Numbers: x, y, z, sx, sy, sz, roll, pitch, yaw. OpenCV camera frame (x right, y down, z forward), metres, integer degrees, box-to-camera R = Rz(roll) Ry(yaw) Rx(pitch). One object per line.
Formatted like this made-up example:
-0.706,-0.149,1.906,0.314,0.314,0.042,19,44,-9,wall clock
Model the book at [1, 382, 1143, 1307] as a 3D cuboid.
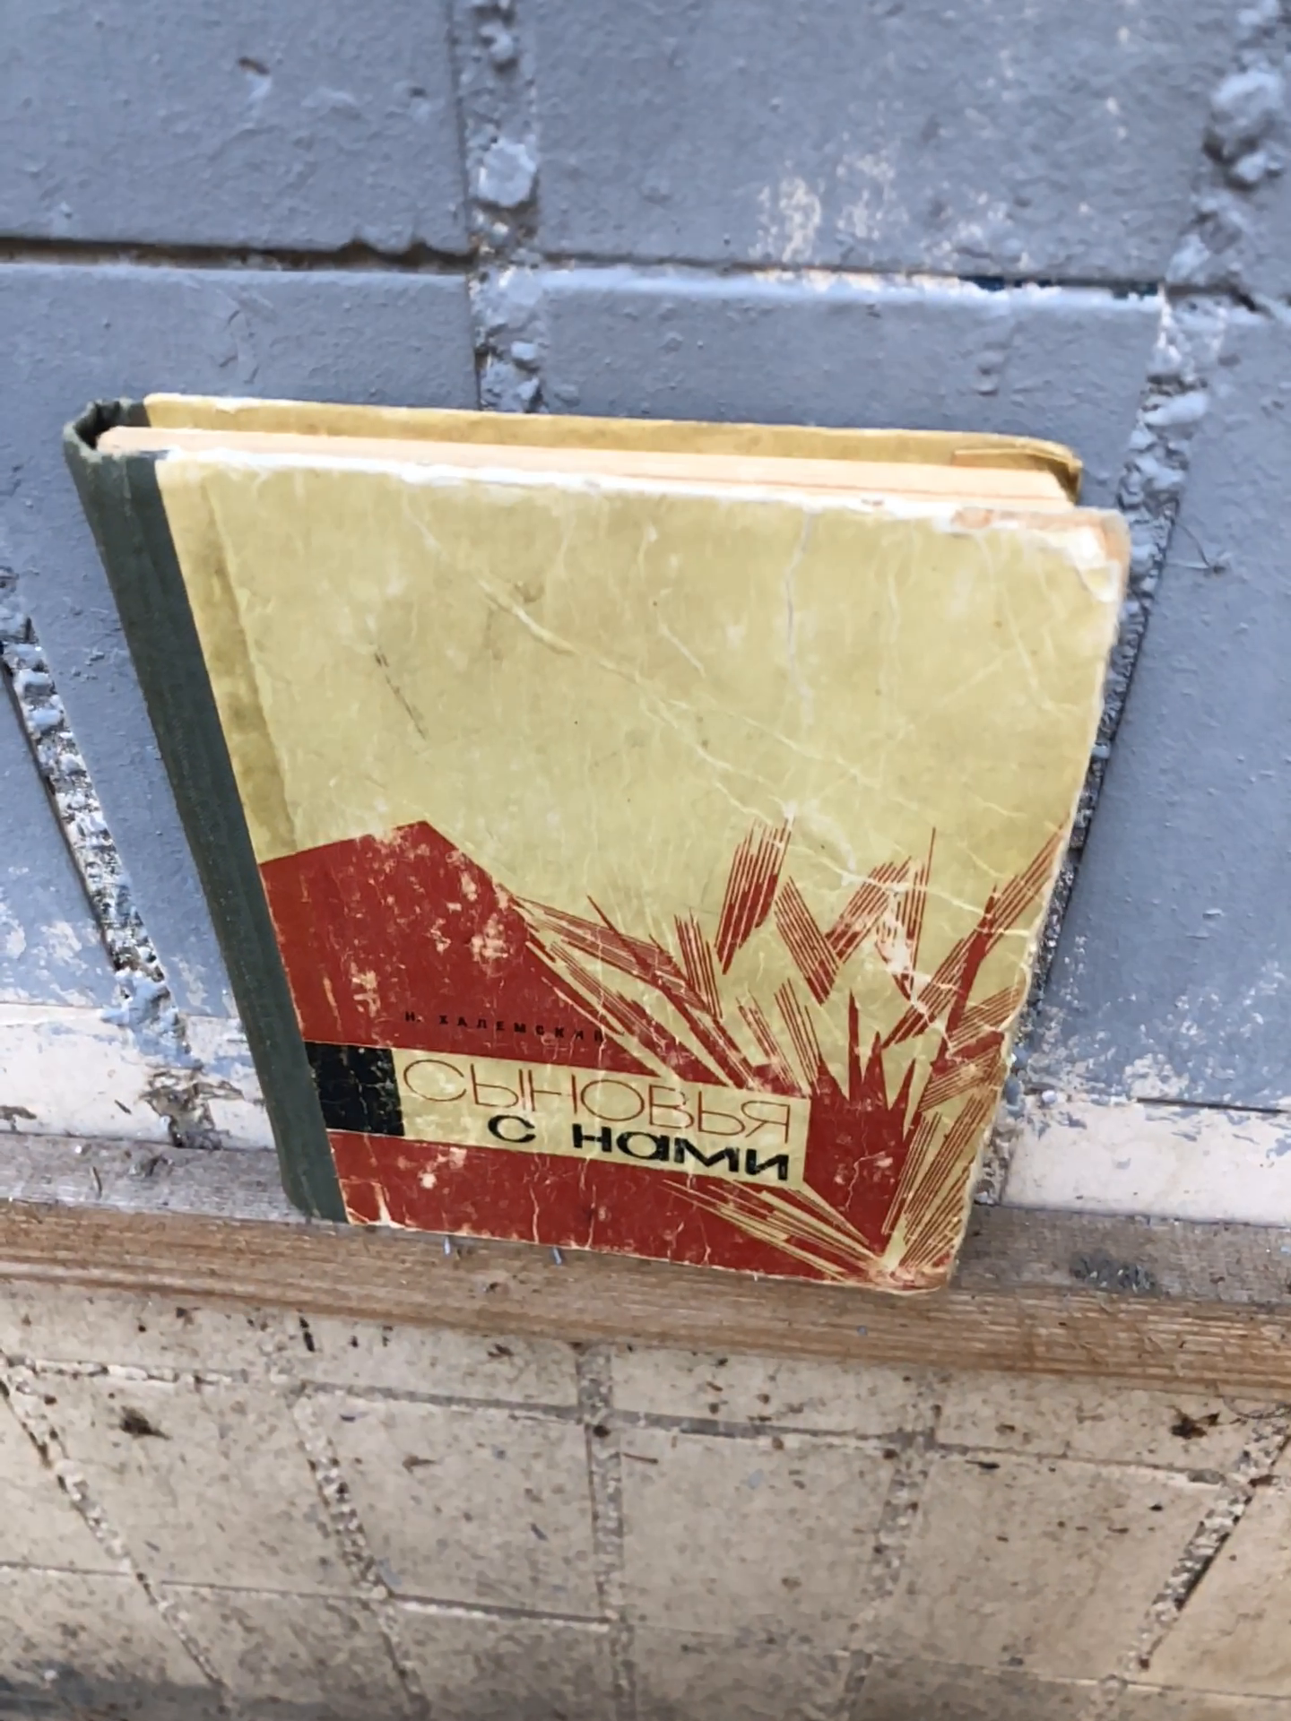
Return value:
-0.010,0.009,0.224,0.135,0.156,0.020,4,40,6,book
